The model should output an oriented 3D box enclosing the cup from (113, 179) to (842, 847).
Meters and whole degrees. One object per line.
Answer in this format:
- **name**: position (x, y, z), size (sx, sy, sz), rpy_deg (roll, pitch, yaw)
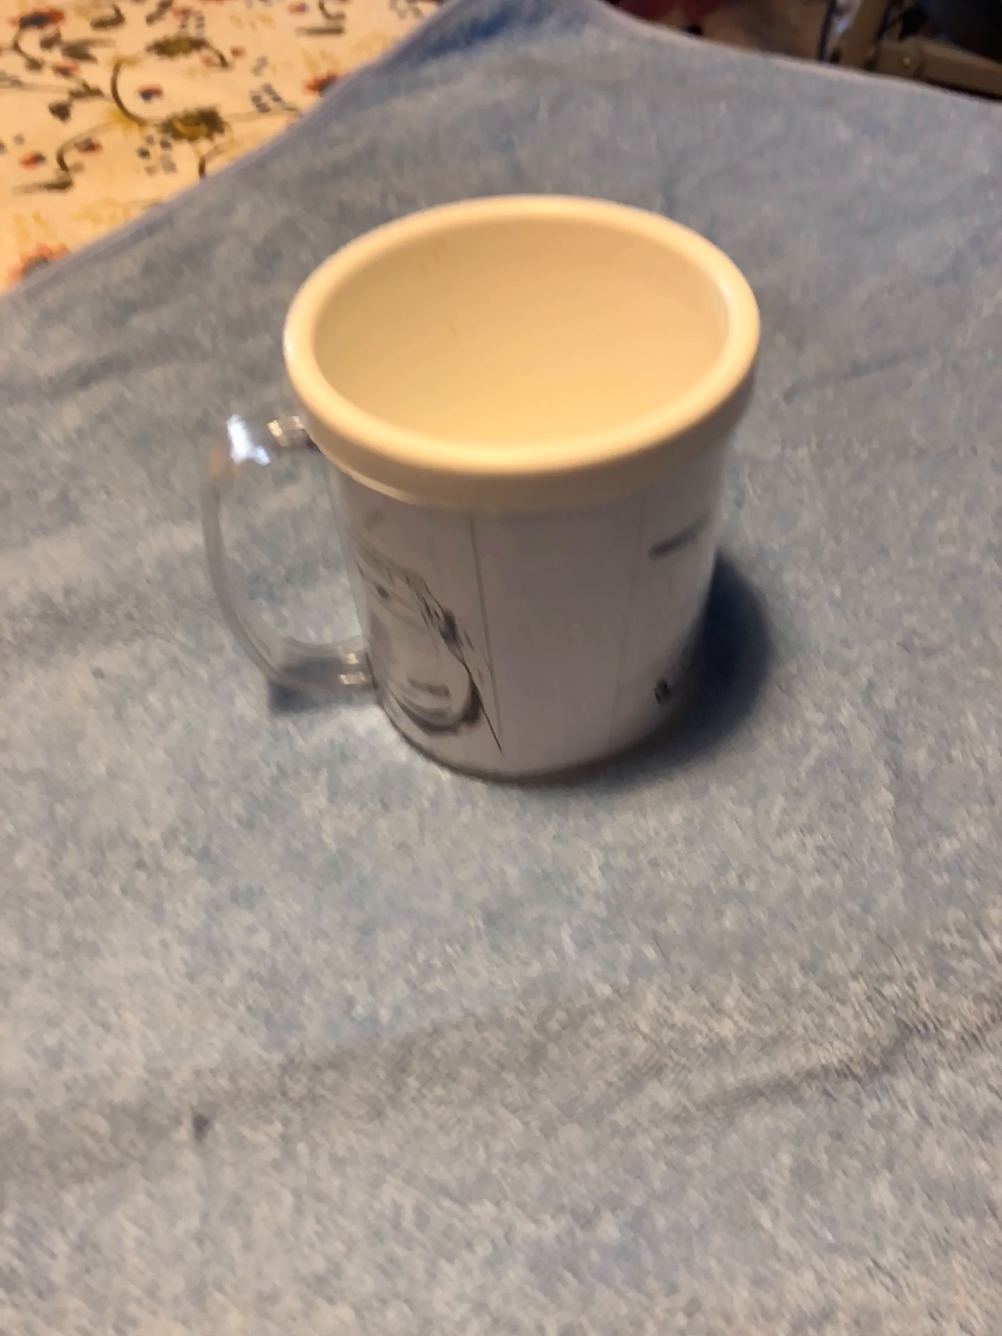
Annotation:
- **cup**: position (-0.007, -0.033, 0.249), size (0.120, 0.099, 0.091), rpy_deg (-7, 50, -3)
